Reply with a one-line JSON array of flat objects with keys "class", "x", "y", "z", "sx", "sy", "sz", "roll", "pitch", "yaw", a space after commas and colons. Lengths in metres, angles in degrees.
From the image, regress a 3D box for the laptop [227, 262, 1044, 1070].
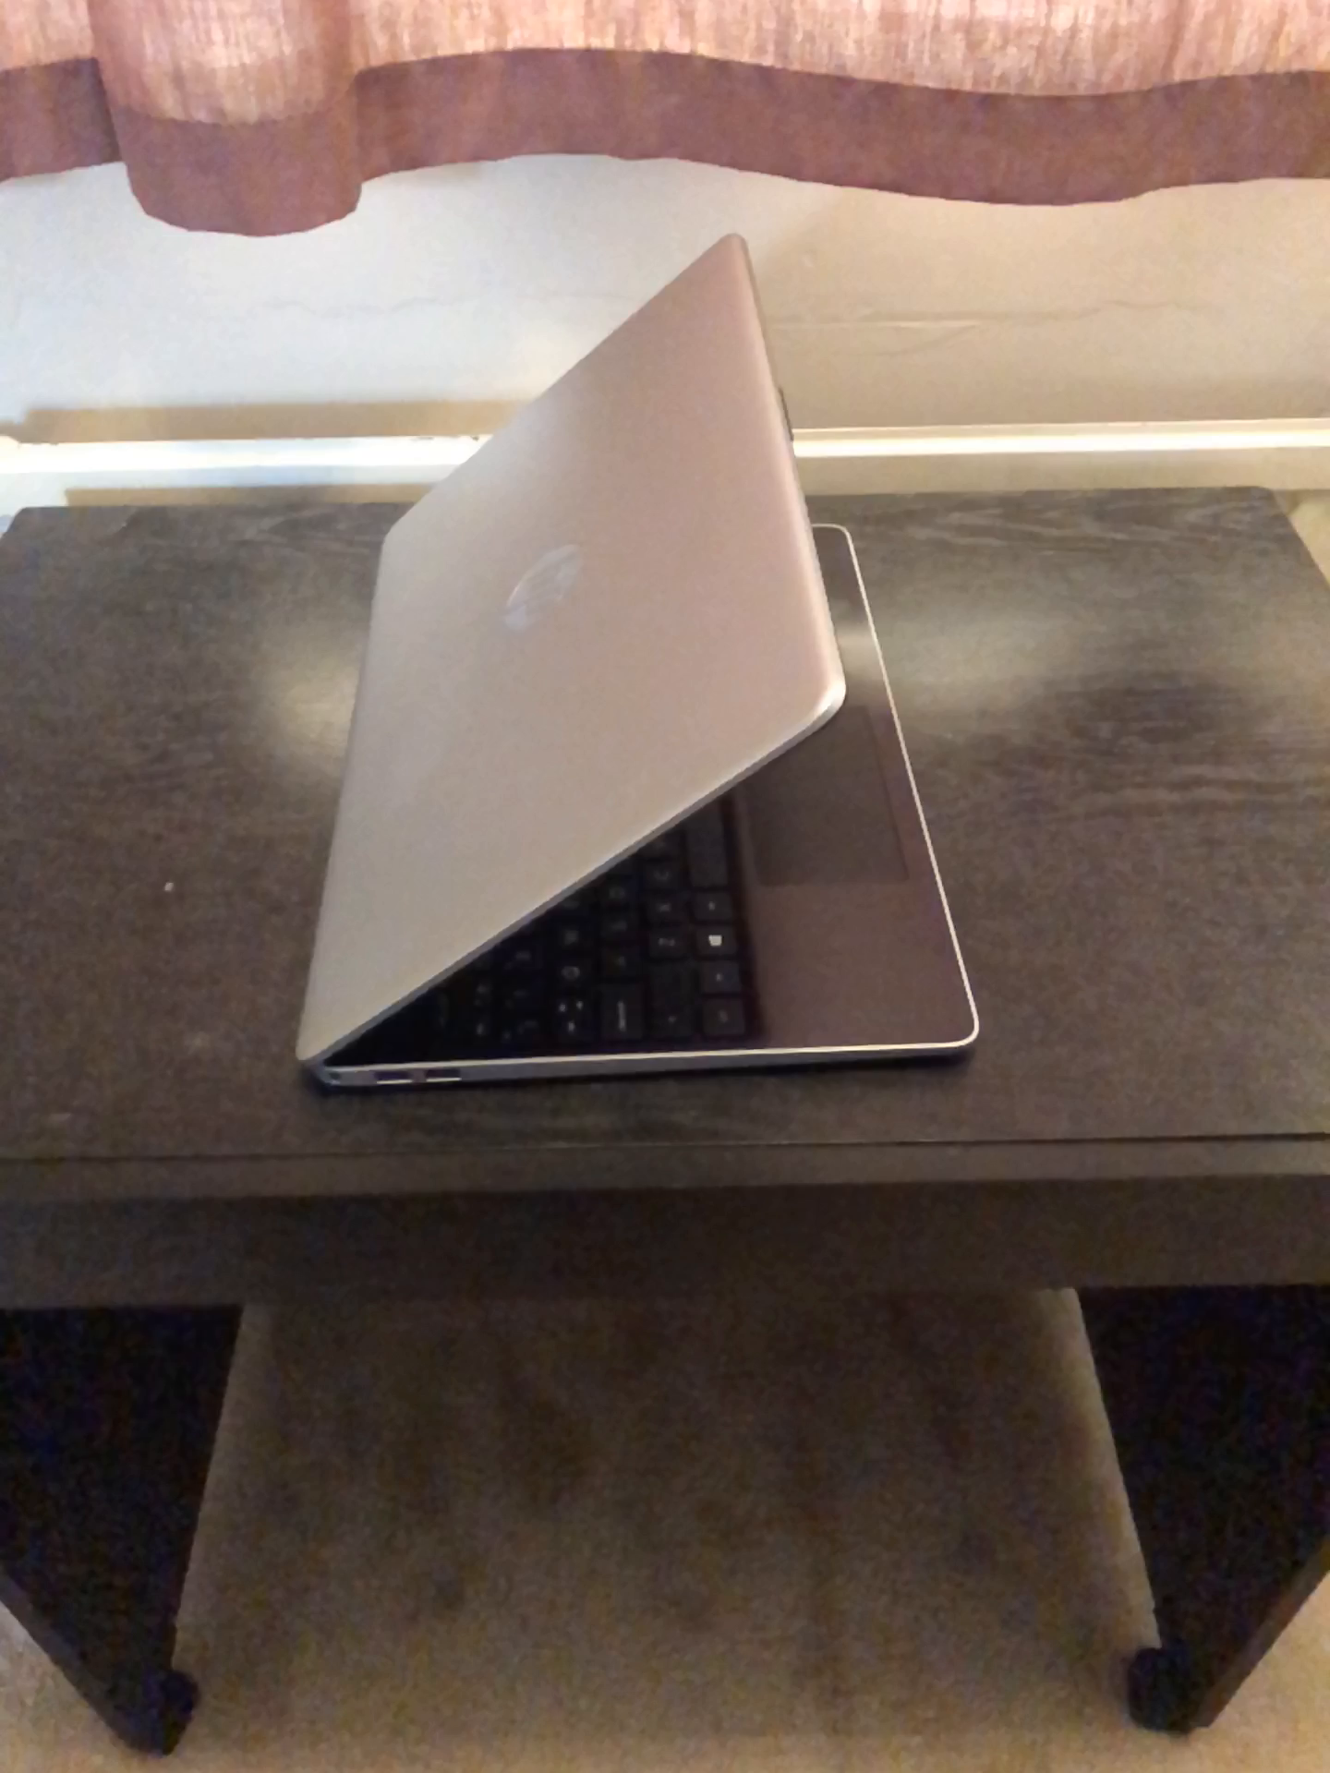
[{"class": "laptop", "x": -0.013, "y": -0.116, "z": 0.603, "sx": 0.236, "sy": 0.141, "sz": 0.363, "roll": -1, "pitch": 43, "yaw": -3}]
